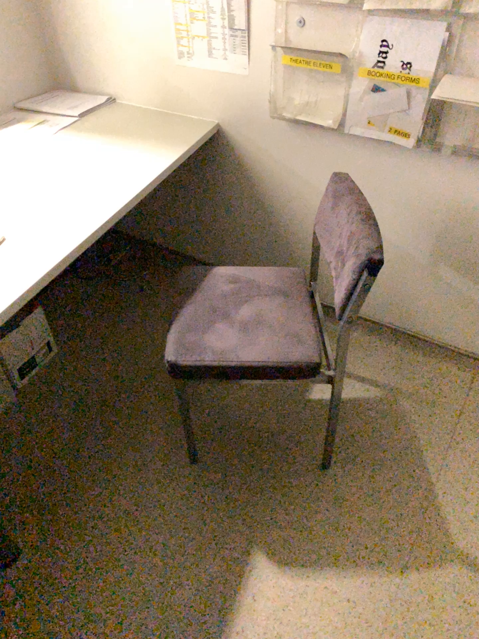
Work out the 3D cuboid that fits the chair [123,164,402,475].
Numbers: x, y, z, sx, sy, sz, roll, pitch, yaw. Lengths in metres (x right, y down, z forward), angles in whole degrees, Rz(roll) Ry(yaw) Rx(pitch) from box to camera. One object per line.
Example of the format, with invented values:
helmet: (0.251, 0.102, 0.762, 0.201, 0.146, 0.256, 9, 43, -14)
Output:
chair: (0.056, 0.000, 1.389, 0.550, 0.663, 0.576, -1, 40, 2)
